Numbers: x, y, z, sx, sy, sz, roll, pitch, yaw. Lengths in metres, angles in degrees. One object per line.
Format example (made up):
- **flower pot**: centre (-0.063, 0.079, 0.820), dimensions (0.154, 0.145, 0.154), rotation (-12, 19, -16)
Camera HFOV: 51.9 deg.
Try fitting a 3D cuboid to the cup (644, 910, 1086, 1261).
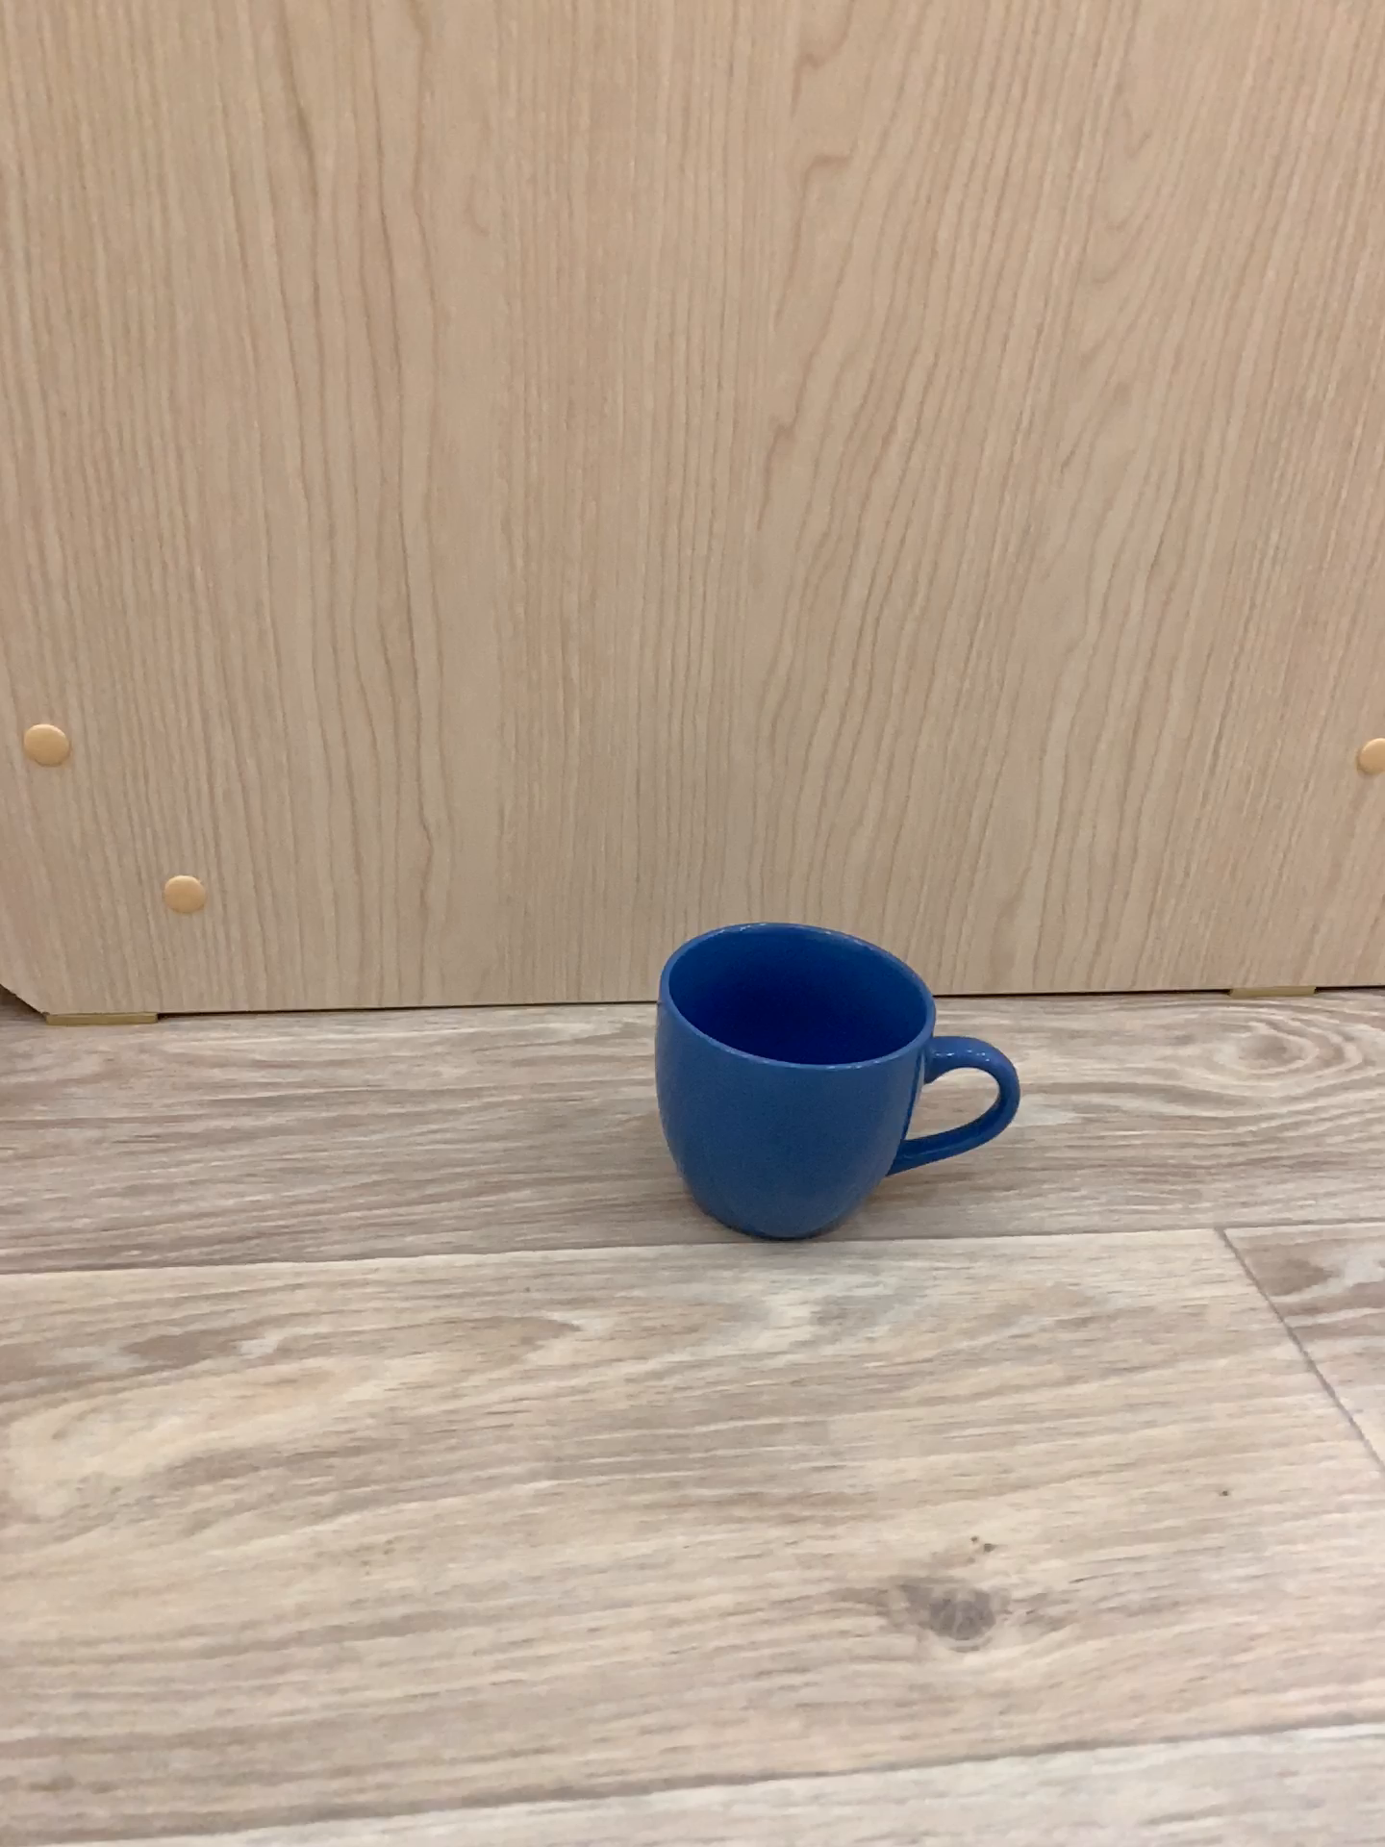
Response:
- **cup**: centre (0.046, 0.049, 0.443), dimensions (0.117, 0.074, 0.078), rotation (2, 28, -5)
